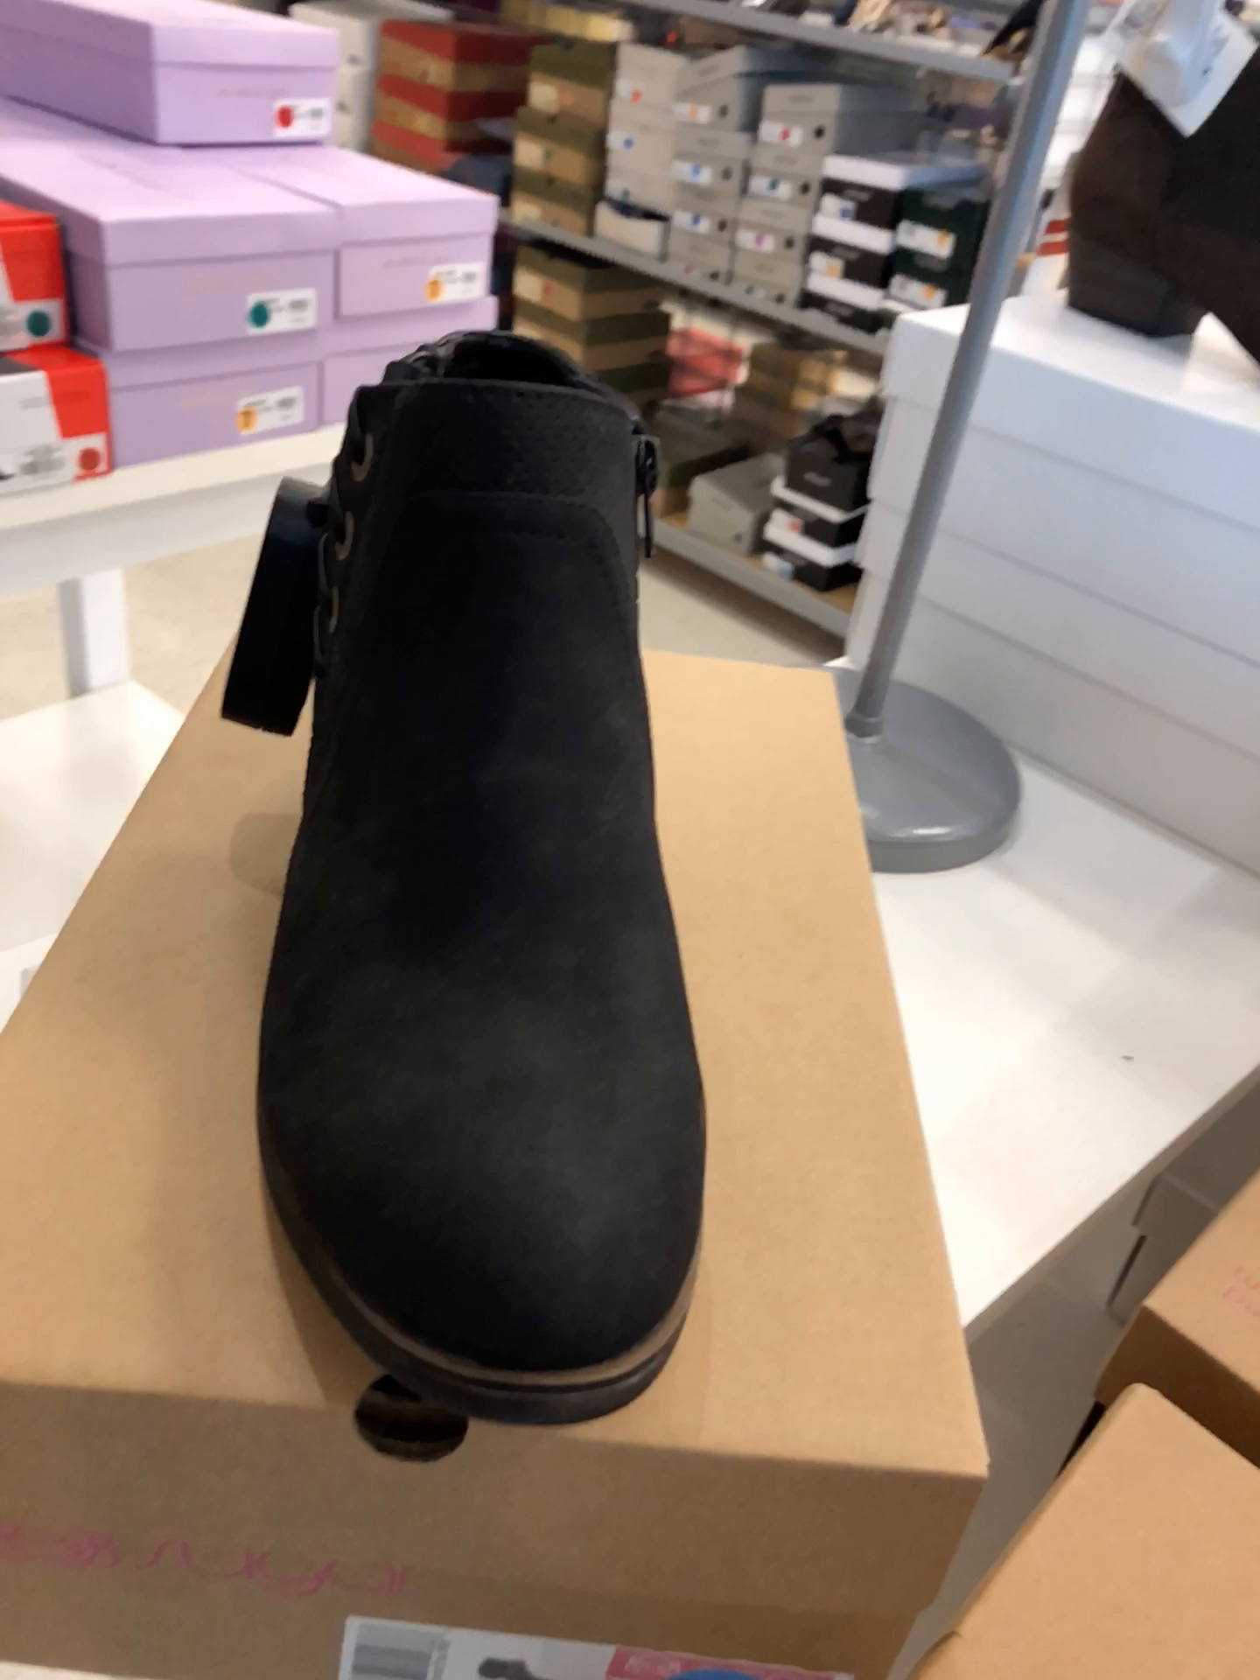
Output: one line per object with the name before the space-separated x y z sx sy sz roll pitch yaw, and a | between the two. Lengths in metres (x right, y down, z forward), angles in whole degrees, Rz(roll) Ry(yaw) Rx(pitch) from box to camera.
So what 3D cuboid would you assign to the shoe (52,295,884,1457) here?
shoe | -0.037 -0.021 0.308 0.100 0.119 0.262 3 34 -9
